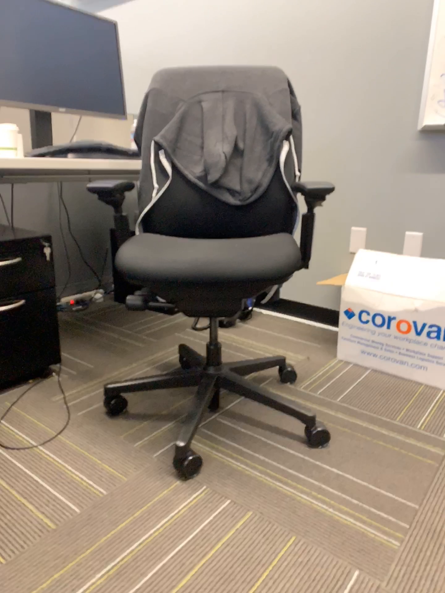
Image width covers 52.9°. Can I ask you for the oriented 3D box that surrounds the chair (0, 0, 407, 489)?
[{"bbox_3d":[-0.035,-0.198,1.366,0.750,1.076,0.883,2,16,3],"label":"chair"}]
